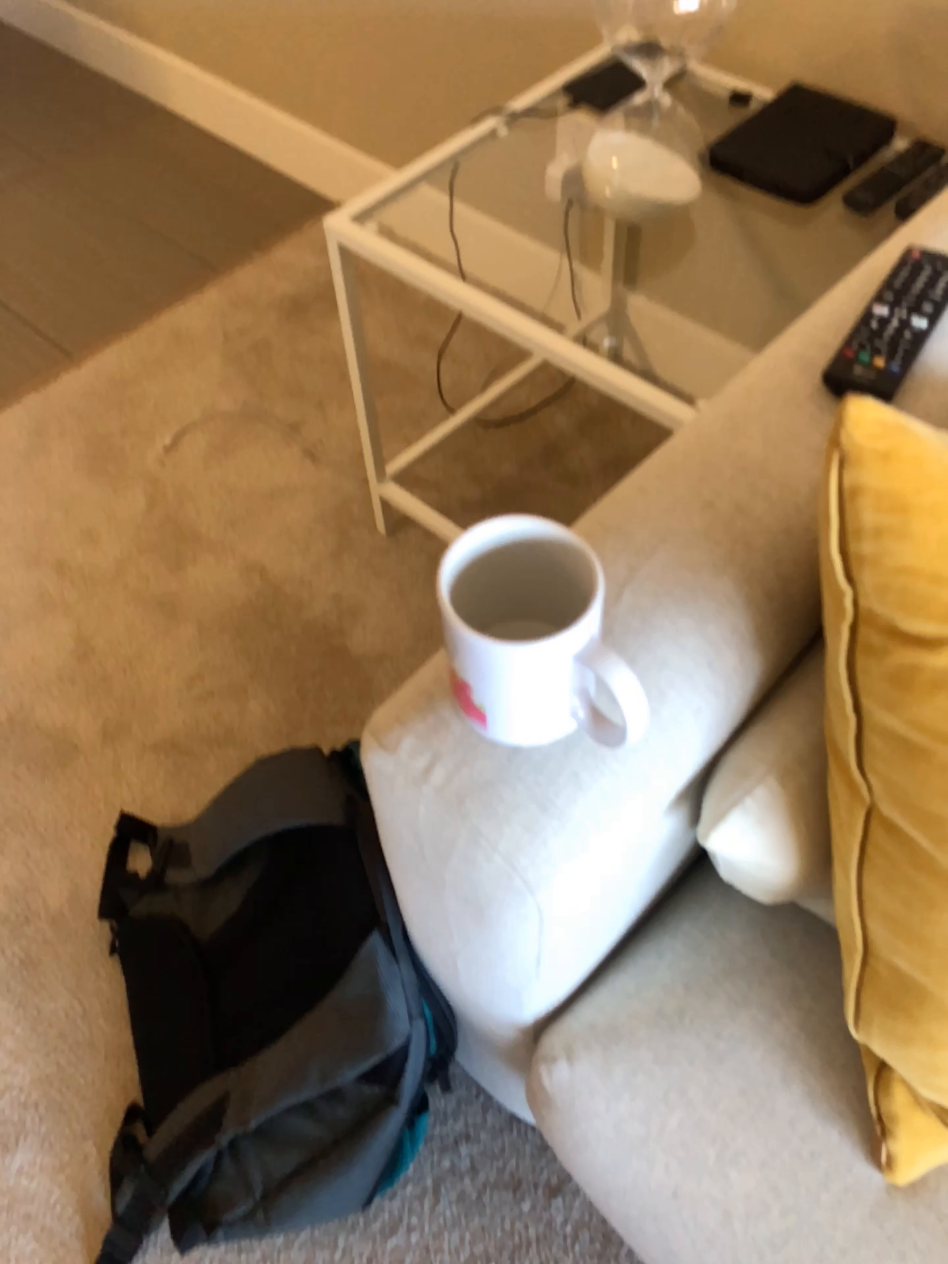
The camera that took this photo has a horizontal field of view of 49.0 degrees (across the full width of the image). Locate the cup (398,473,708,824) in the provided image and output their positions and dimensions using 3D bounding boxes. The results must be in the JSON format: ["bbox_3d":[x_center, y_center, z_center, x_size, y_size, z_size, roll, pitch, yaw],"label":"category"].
[{"bbox_3d":[0.036,0.008,0.515,0.080,0.100,0.120,-37,60,-22],"label":"cup"}]
